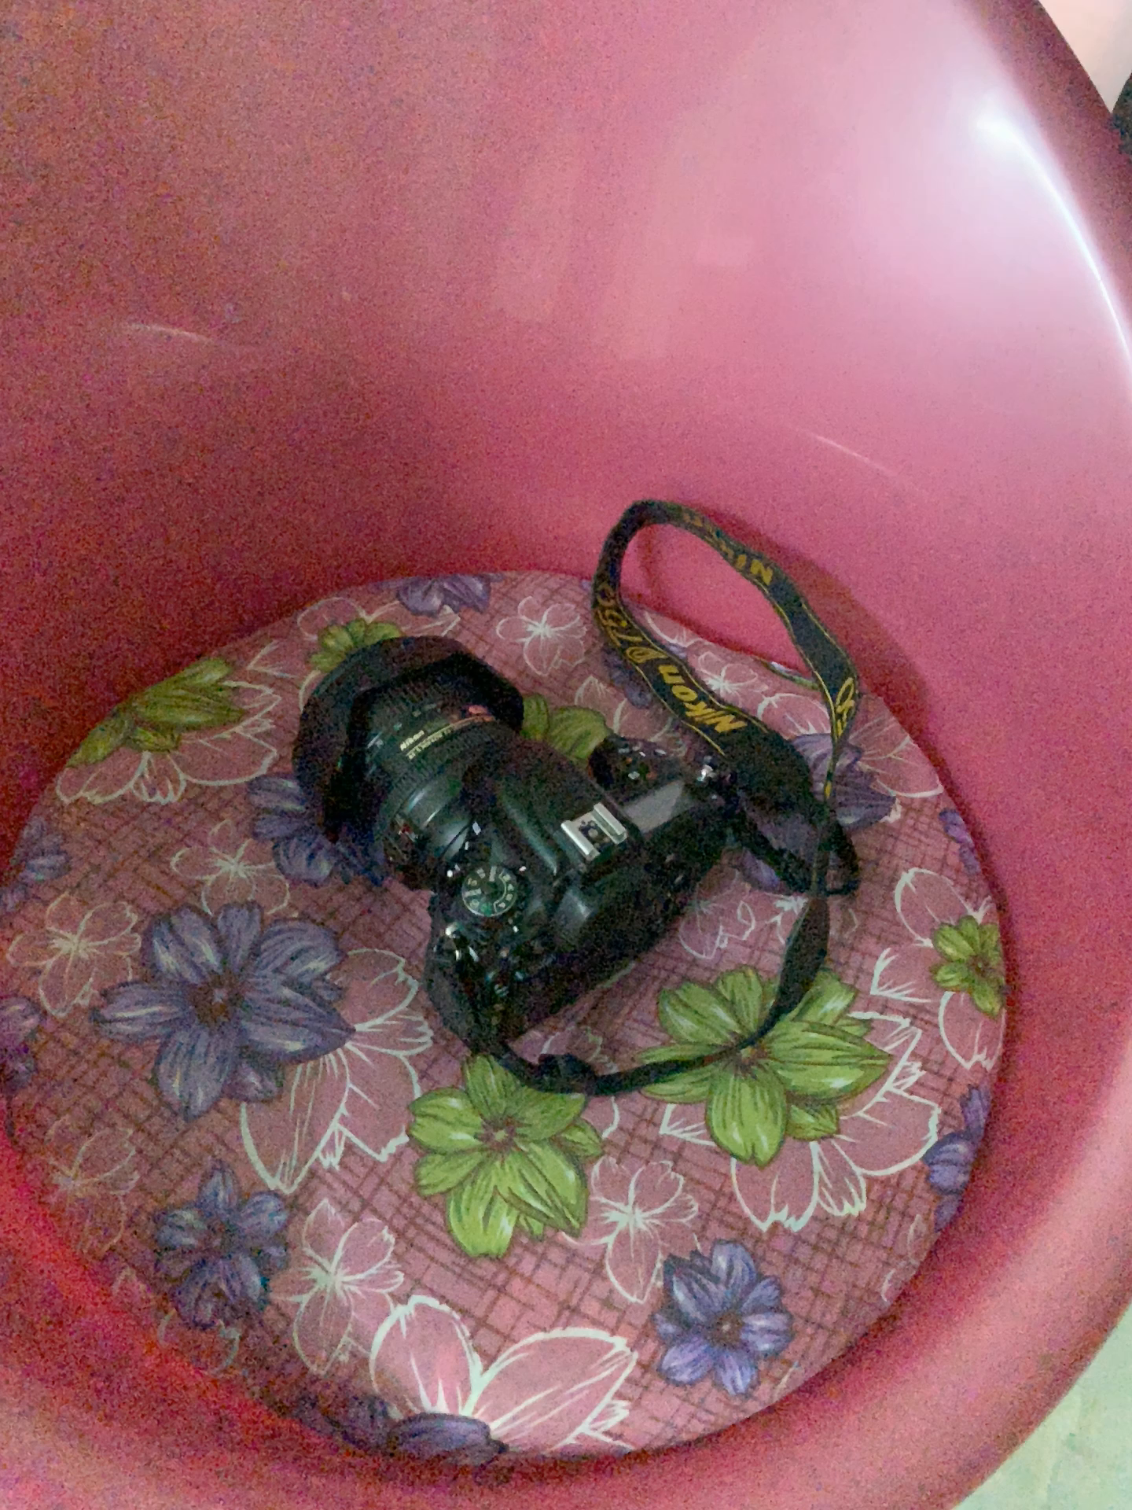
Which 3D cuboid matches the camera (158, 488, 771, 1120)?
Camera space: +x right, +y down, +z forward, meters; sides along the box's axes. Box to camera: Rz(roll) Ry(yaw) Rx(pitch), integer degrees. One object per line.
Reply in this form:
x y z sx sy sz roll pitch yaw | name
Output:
-0.049 0.016 0.515 0.166 0.130 0.192 -29 64 -25 | camera
